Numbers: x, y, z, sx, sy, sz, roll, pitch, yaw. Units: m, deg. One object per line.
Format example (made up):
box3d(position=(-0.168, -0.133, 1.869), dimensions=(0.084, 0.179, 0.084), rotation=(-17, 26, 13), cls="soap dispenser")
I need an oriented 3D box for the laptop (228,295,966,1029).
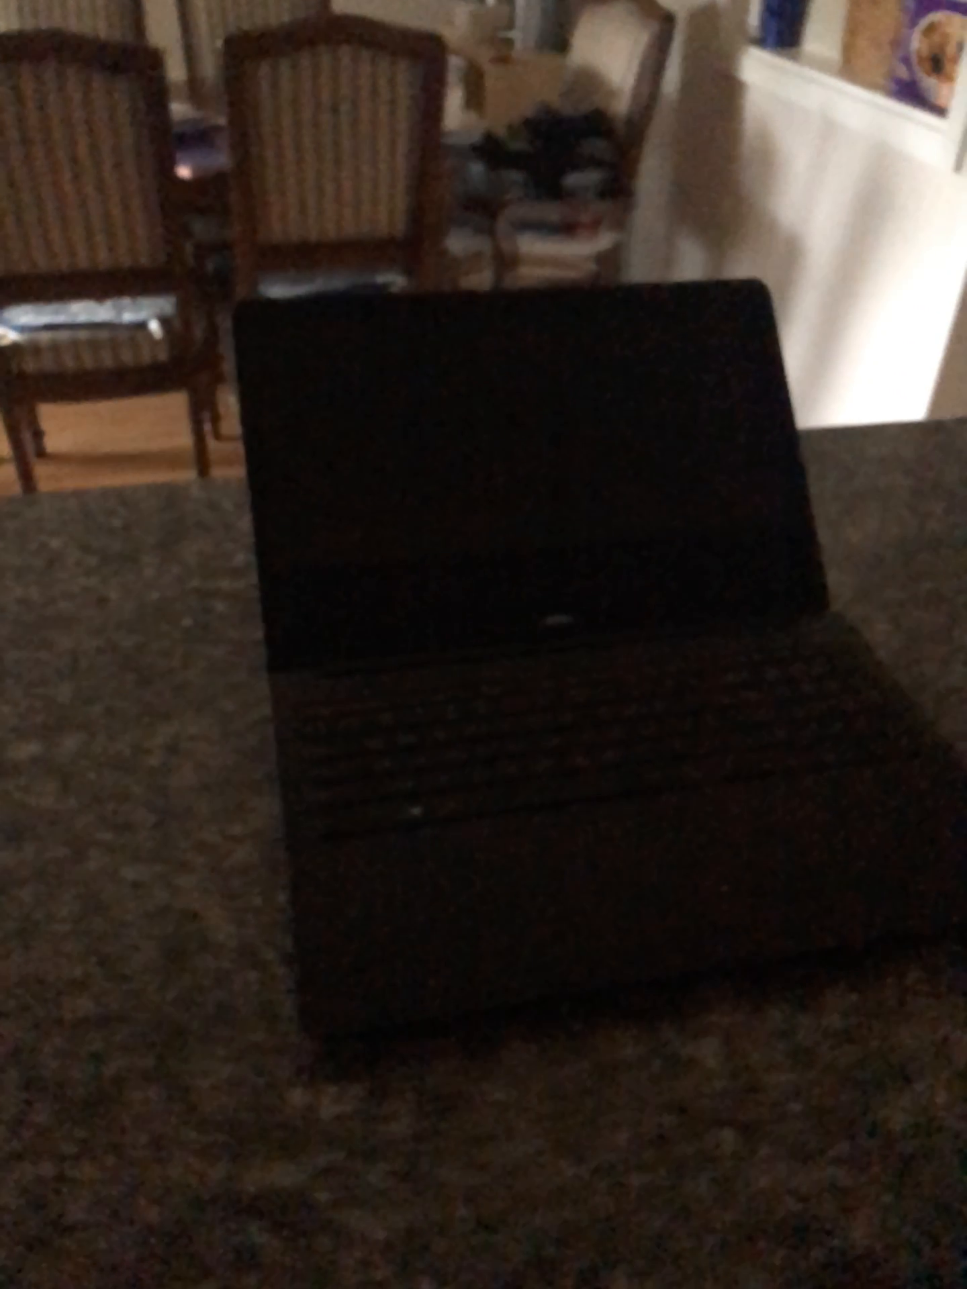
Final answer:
box3d(position=(0.056, -0.042, 0.602), dimensions=(0.361, 0.158, 0.416), rotation=(-6, 37, -11), cls="laptop")
